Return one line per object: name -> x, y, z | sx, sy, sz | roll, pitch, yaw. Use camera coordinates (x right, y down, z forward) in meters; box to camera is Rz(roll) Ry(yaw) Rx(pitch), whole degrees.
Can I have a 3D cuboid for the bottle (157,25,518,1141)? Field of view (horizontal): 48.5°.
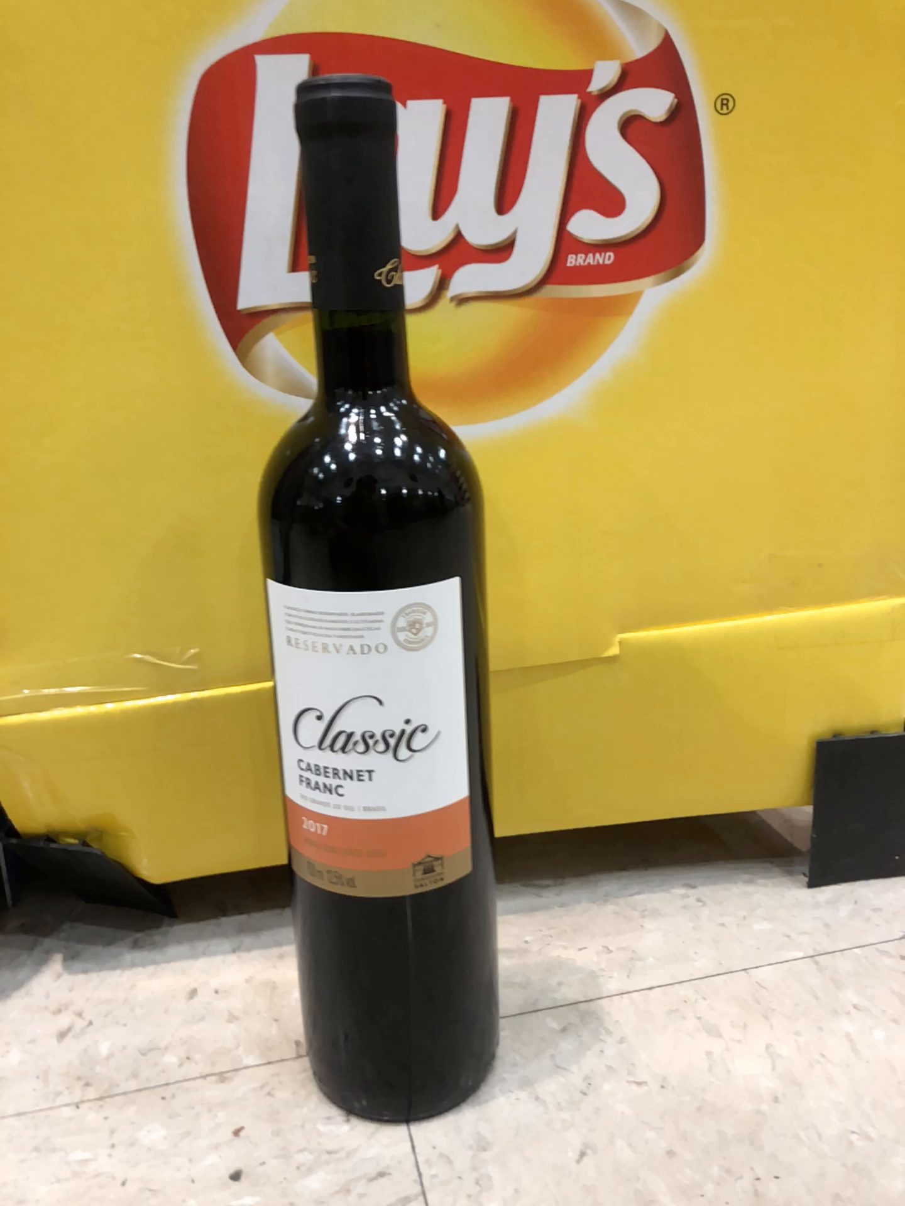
bottle -> -0.023, 0.010, 0.310 | 0.070, 0.318, 0.060 | 1, 18, 12
